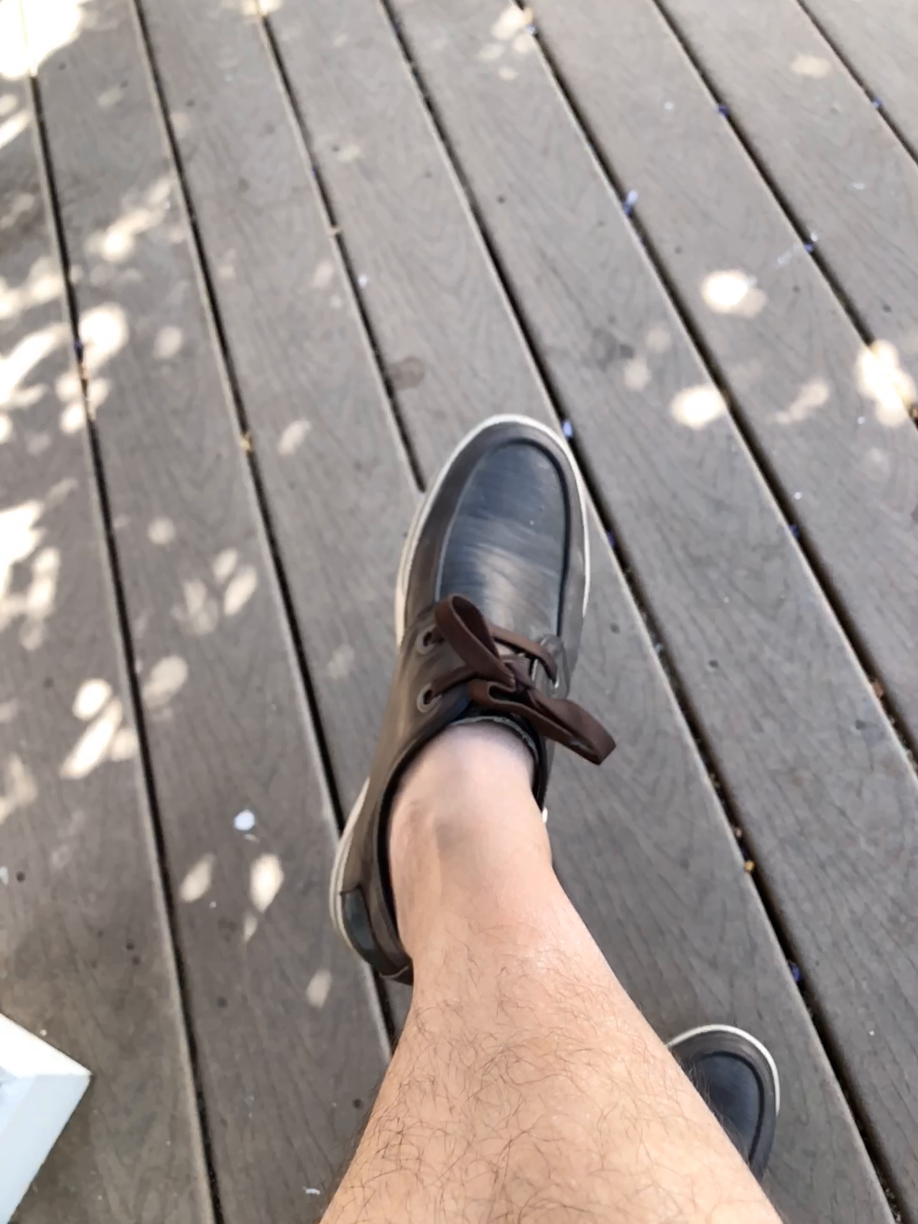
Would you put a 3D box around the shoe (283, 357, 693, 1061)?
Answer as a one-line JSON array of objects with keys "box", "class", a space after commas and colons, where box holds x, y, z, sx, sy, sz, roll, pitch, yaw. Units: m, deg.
[{"box": [0.012, 0.044, 0.511, 0.118, 0.104, 0.295, 16, 78, -8], "class": "shoe"}]
